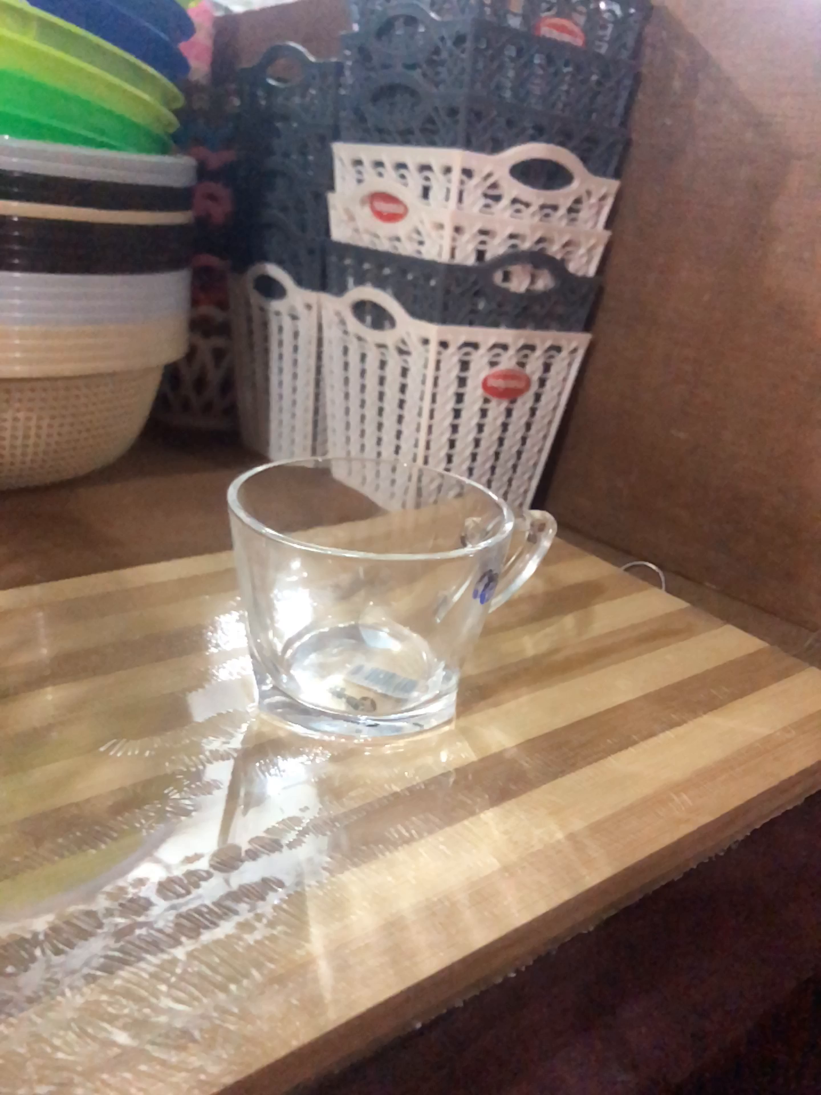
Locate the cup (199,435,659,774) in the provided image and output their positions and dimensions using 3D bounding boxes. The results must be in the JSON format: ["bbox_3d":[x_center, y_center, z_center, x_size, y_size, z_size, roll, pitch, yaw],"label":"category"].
[{"bbox_3d":[0.003,0.009,0.272,0.110,0.060,0.070,-8,26,-32],"label":"cup"}]
